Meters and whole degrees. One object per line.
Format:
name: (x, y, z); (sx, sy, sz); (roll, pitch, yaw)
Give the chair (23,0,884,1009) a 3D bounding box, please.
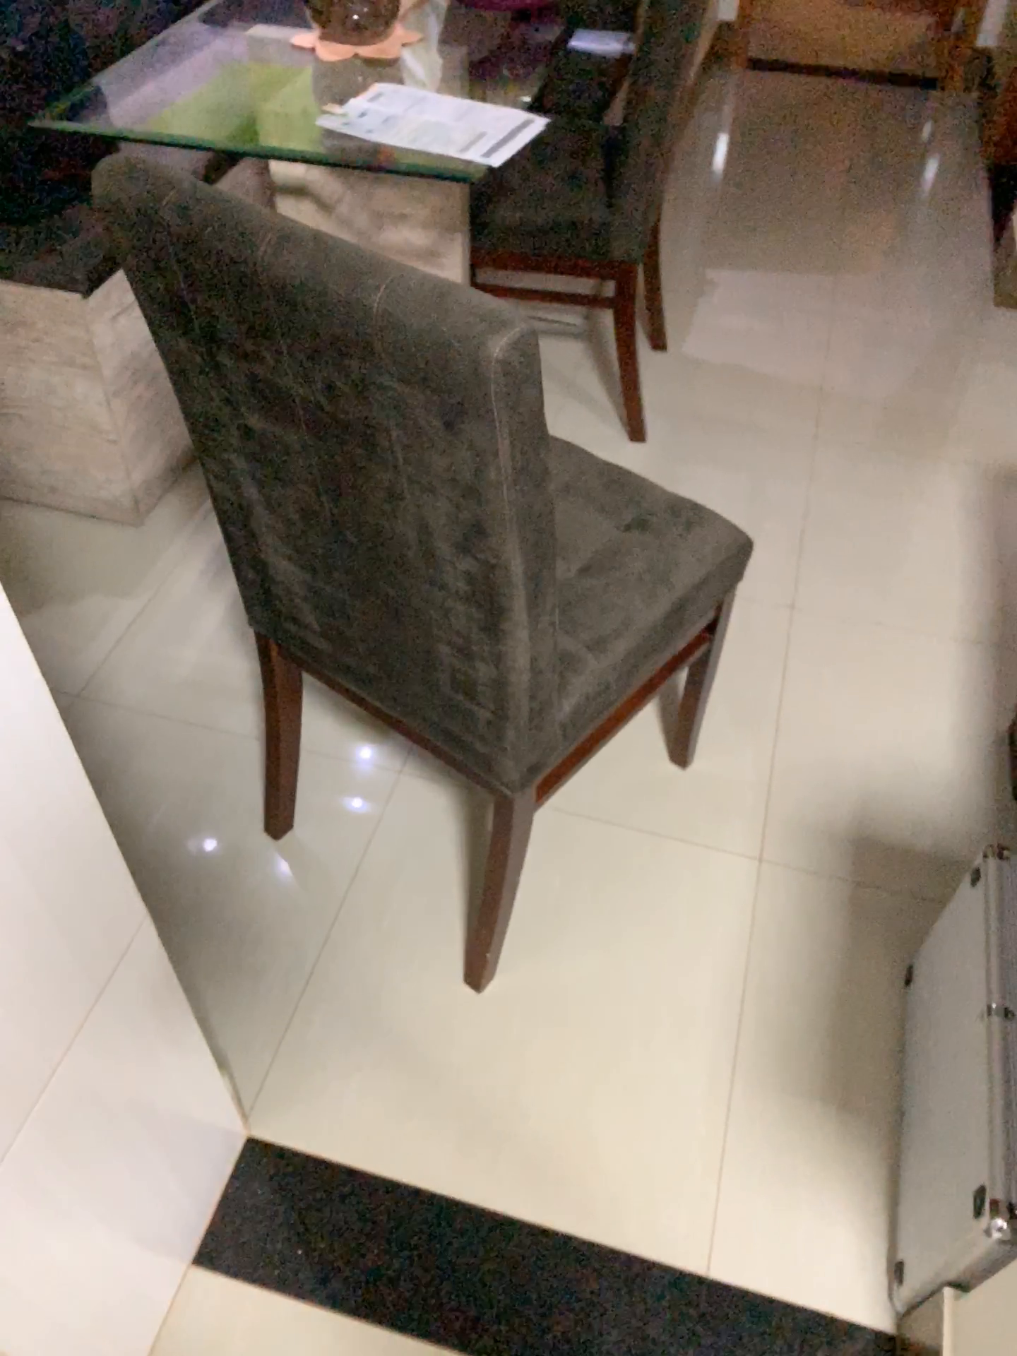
chair: (-0.040, -0.180, 1.302); (0.542, 0.971, 0.573); (30, 53, 24)
